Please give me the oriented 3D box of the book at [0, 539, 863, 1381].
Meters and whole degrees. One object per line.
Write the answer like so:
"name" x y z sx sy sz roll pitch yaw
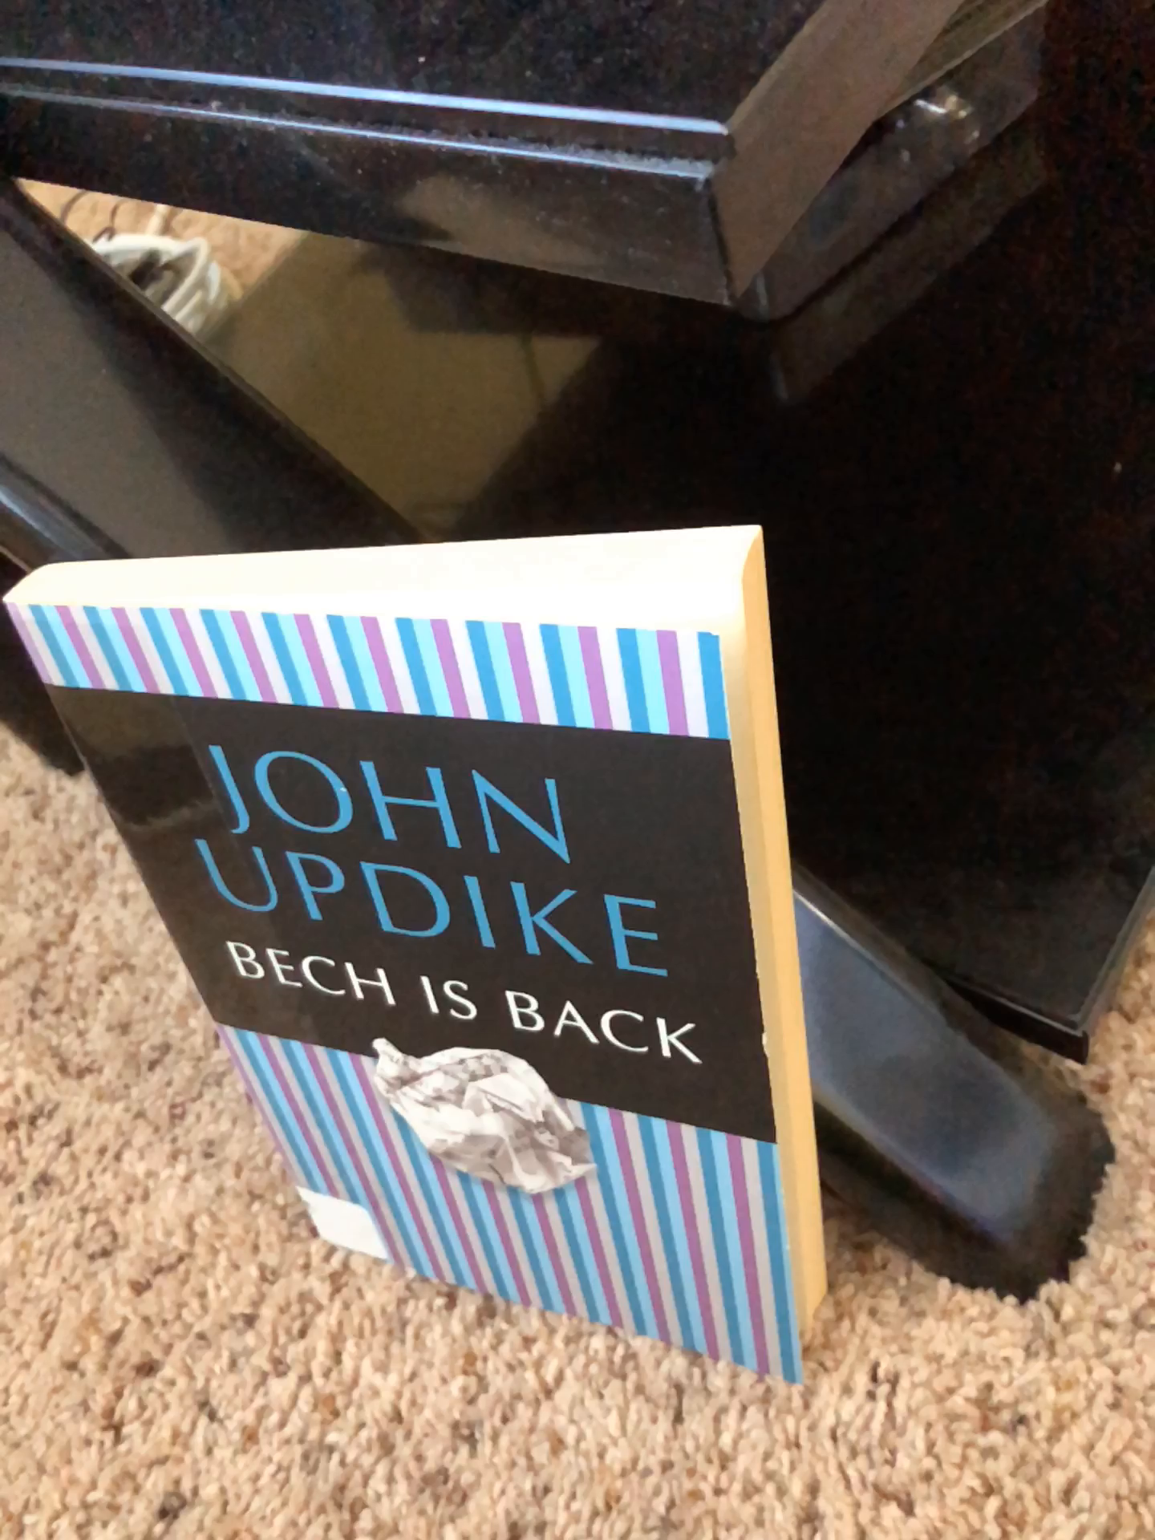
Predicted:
"book" -0.019 0.048 0.263 0.135 0.201 0.030 4 43 23
